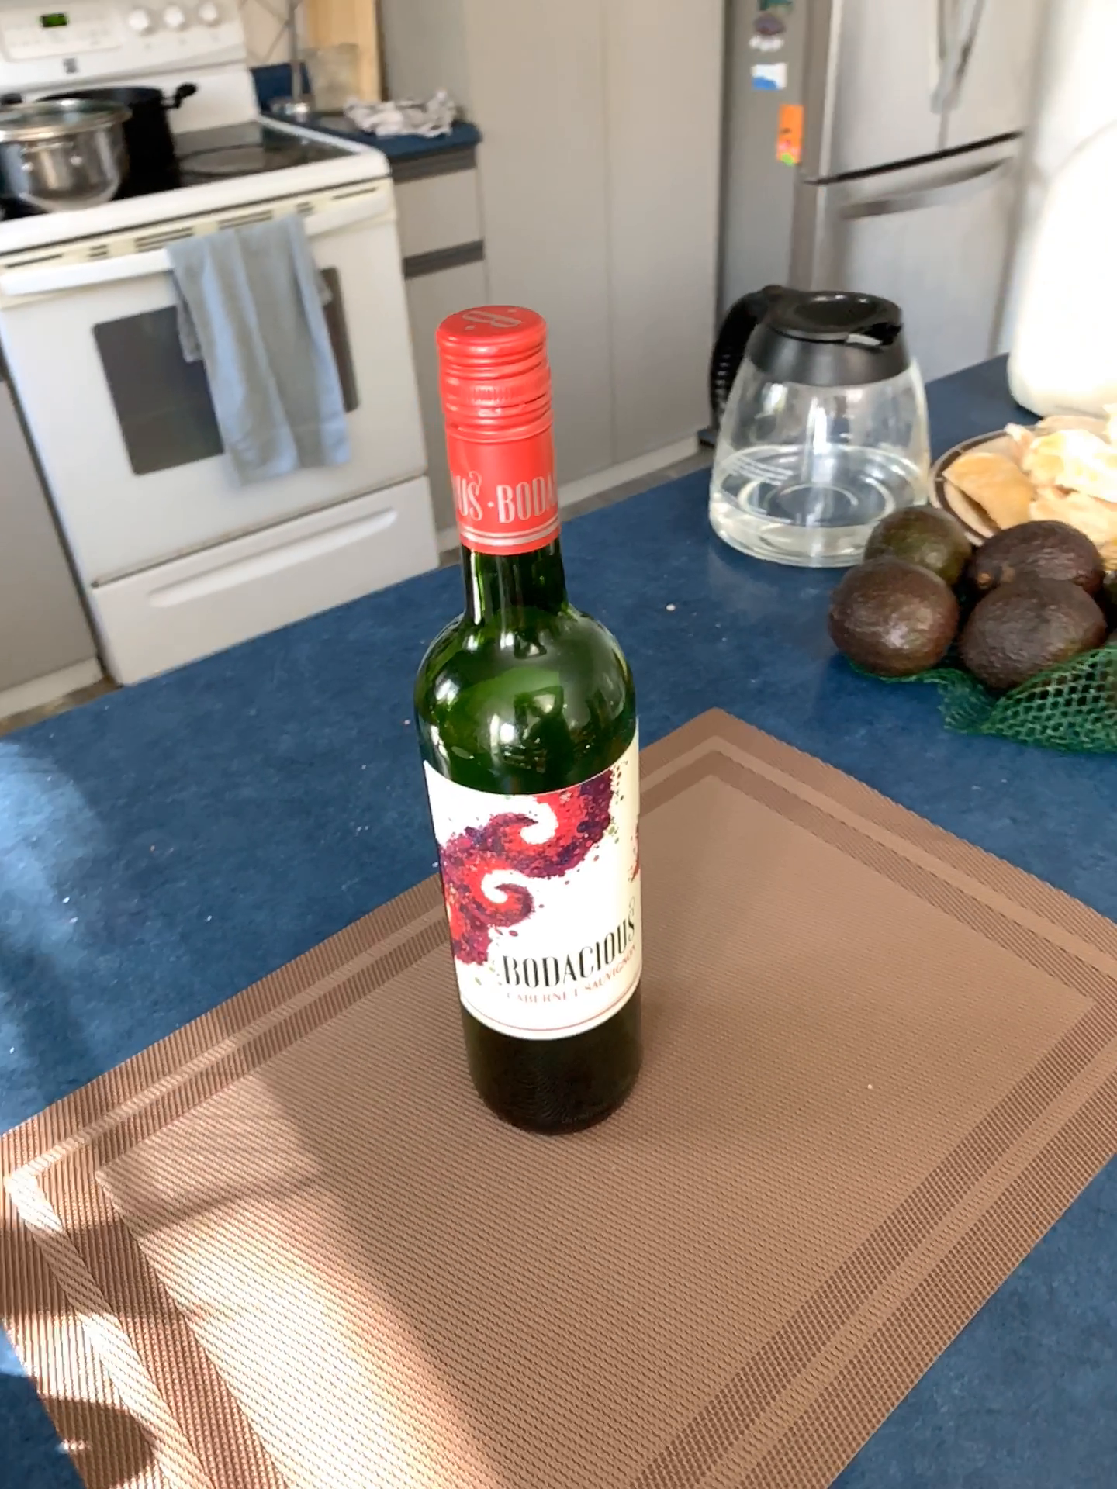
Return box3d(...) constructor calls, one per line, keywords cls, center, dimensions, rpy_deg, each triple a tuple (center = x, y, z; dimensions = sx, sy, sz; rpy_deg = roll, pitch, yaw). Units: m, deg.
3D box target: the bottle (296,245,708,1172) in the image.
box3d(cls="bottle", center=(-0.010, 0.007, 0.382), dimensions=(0.080, 0.297, 0.081), rpy_deg=(-2, 37, 2))
